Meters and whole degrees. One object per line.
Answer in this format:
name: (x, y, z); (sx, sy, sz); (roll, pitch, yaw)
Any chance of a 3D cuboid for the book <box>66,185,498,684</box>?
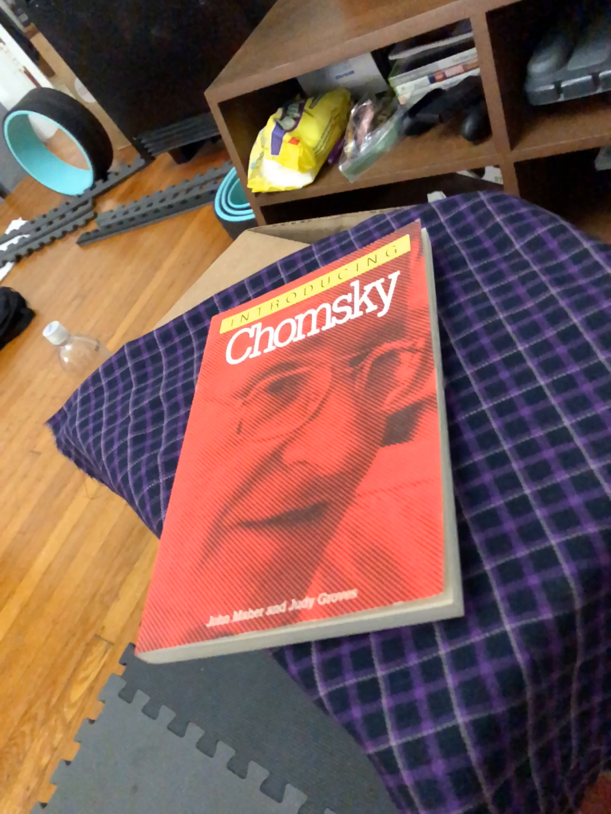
book: (-0.011, 0.001, 0.333); (0.180, 0.020, 0.241); (-18, 44, 25)
